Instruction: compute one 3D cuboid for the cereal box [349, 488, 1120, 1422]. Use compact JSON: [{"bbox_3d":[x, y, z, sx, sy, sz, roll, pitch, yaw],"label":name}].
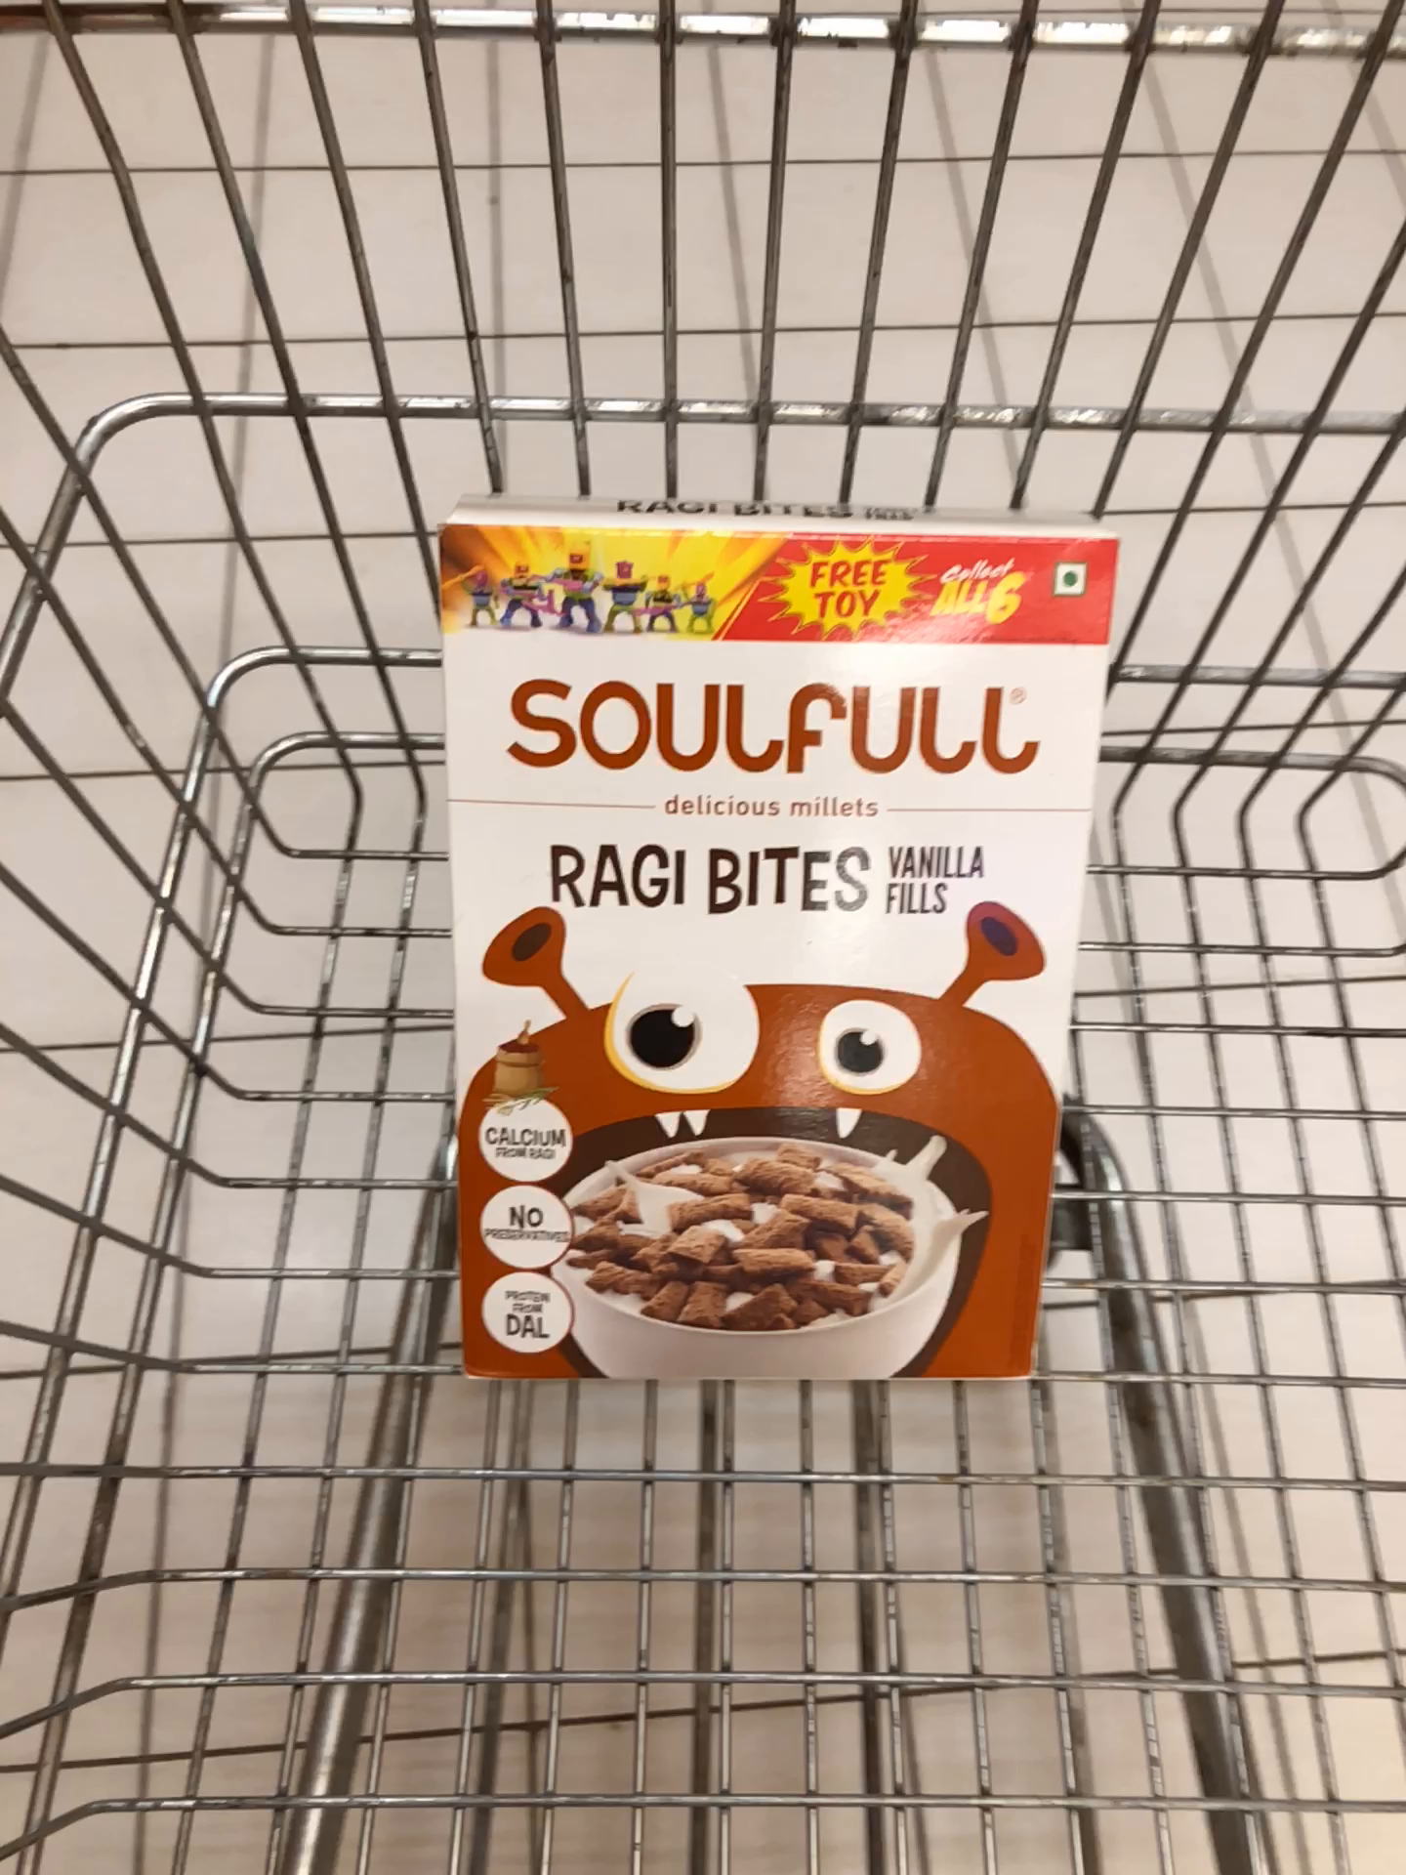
[{"bbox_3d":[0.002,0.009,0.437,0.180,0.249,0.070,1,20,-4],"label":"cereal box"}]
